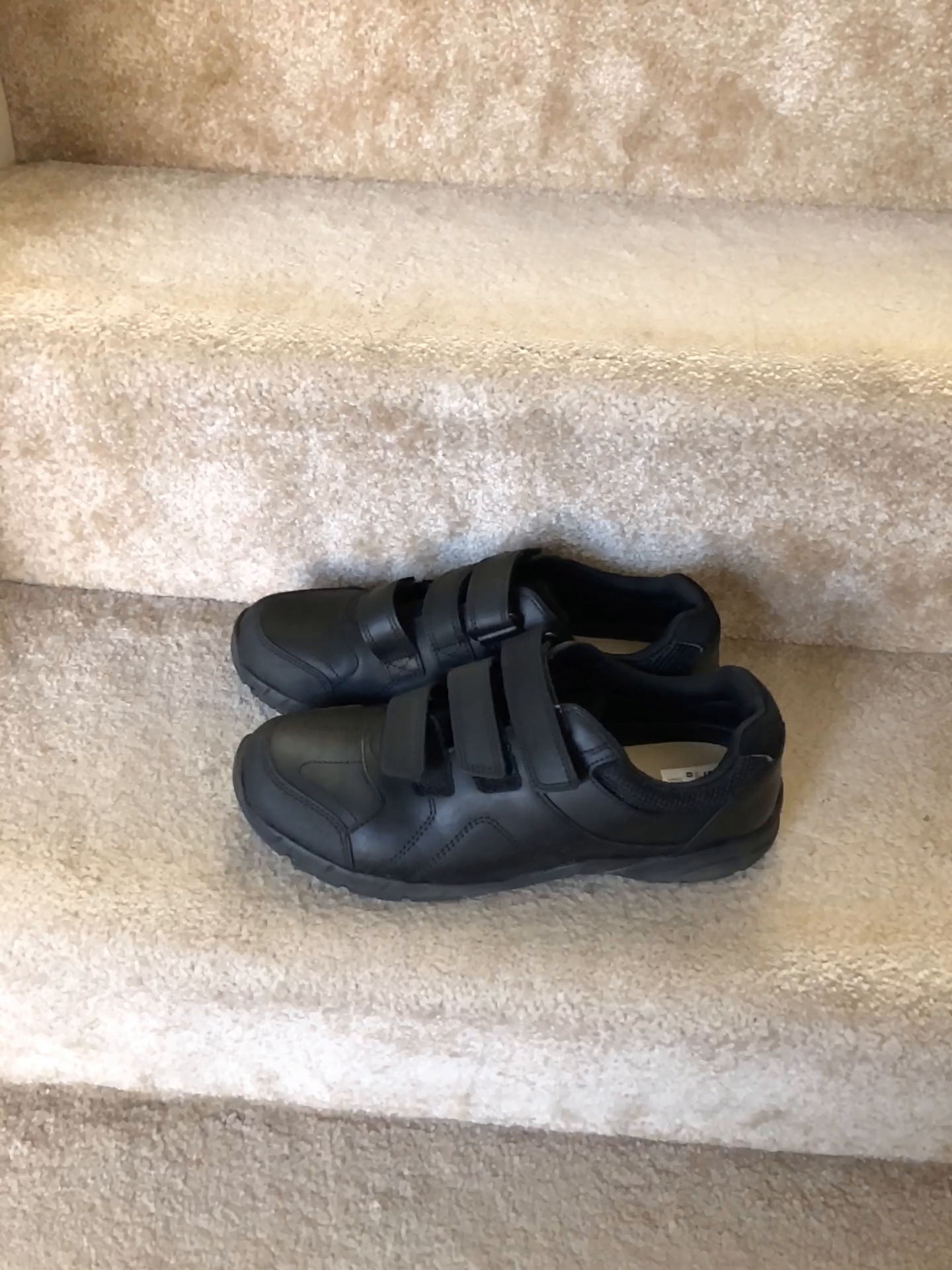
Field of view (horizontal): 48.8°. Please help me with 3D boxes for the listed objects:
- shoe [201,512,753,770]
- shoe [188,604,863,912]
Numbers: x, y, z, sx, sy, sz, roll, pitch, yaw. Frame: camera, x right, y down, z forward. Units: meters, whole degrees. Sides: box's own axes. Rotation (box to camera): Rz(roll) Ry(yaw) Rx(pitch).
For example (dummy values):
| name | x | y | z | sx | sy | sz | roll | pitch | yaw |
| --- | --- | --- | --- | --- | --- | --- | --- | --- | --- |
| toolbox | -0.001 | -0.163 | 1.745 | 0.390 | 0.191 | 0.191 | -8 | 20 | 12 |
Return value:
| name | x | y | z | sx | sy | sz | roll | pitch | yaw |
| --- | --- | --- | --- | --- | --- | --- | --- | --- | --- |
| shoe | -0.001 | 0.003 | 0.584 | 0.270 | 0.099 | 0.101 | 1 | 40 | -2 |
| shoe | 0.019 | 0.057 | 0.490 | 0.270 | 0.099 | 0.101 | 1 | 40 | -2 |
